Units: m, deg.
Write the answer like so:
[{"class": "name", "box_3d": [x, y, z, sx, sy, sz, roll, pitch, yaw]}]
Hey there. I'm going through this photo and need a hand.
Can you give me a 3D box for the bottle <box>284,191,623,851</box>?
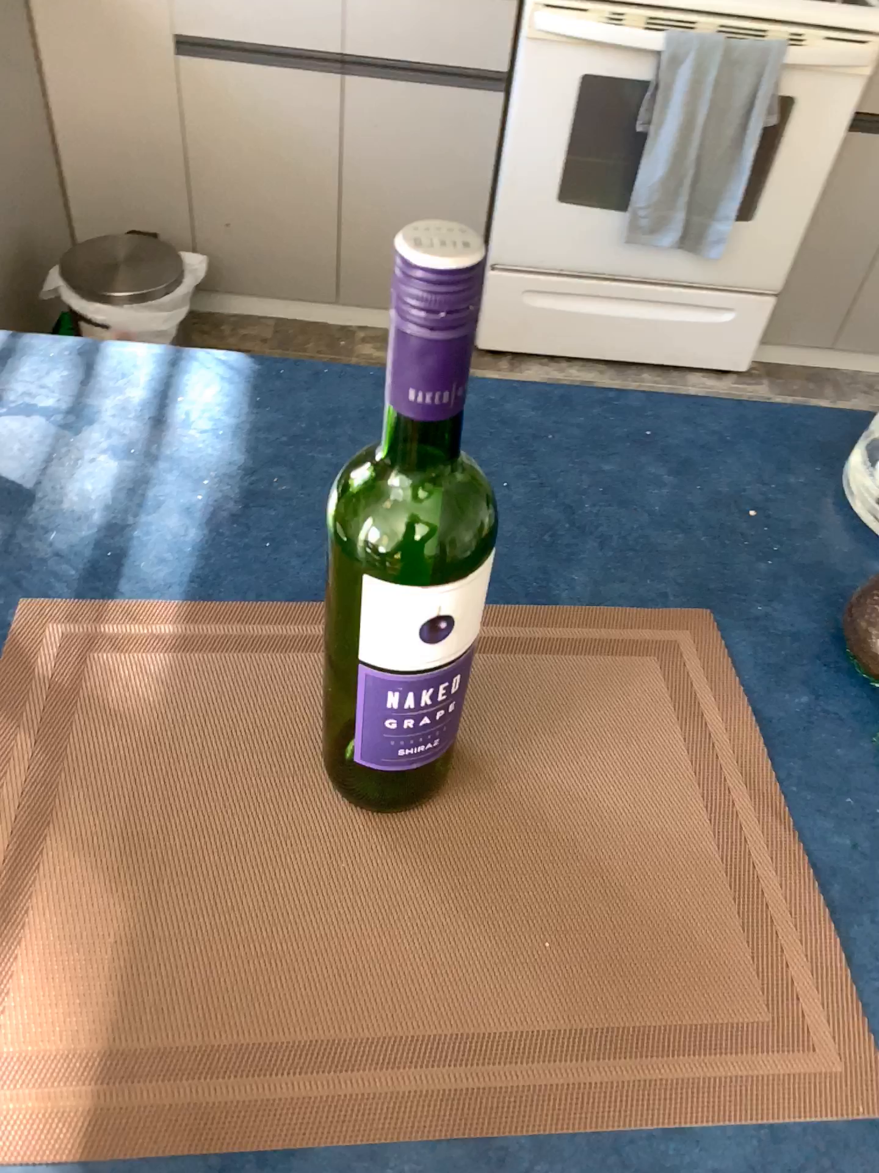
[{"class": "bottle", "box_3d": [-0.012, -0.004, 0.381, 0.080, 0.288, 0.081, 4, 46, -4]}]
